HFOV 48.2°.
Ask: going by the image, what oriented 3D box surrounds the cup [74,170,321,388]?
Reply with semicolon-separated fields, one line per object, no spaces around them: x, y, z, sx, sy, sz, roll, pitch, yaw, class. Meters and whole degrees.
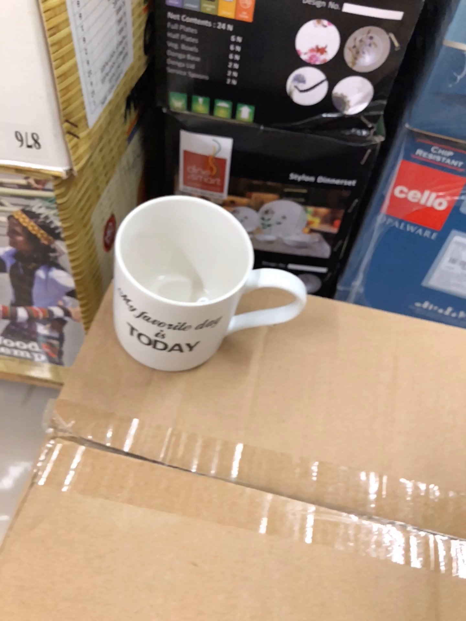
-0.025;-0.014;0.335;0.130;0.099;0.080;8;58;-9;cup
